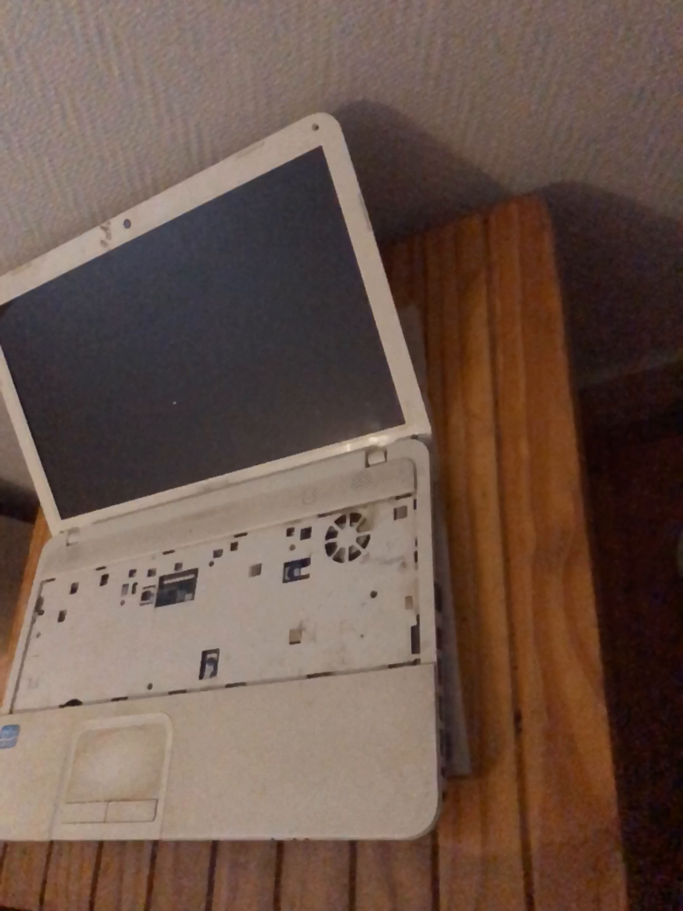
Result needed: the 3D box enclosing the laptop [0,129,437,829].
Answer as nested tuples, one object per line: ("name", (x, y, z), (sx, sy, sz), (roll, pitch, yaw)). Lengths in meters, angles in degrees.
("laptop", (-0.134, 0.029, 0.533), (0.372, 0.118, 0.419), (-16, 55, 28))
